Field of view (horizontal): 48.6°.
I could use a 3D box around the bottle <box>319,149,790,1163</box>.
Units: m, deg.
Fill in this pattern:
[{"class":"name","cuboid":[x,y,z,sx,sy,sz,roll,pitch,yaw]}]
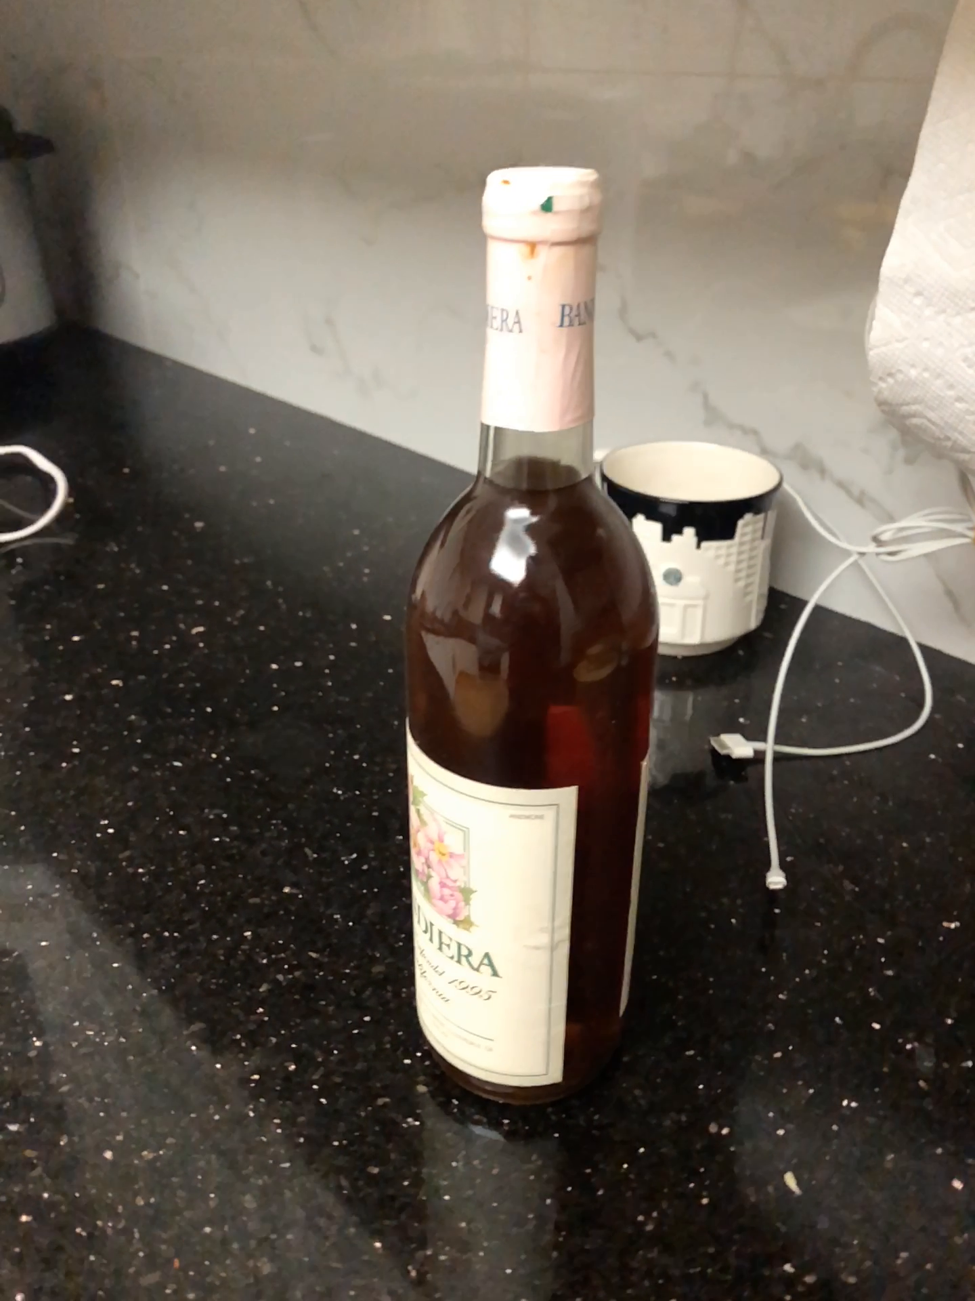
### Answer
[{"class":"bottle","cuboid":[0.011,0.012,0.314,0.080,0.278,0.080,0,29,0]}]
